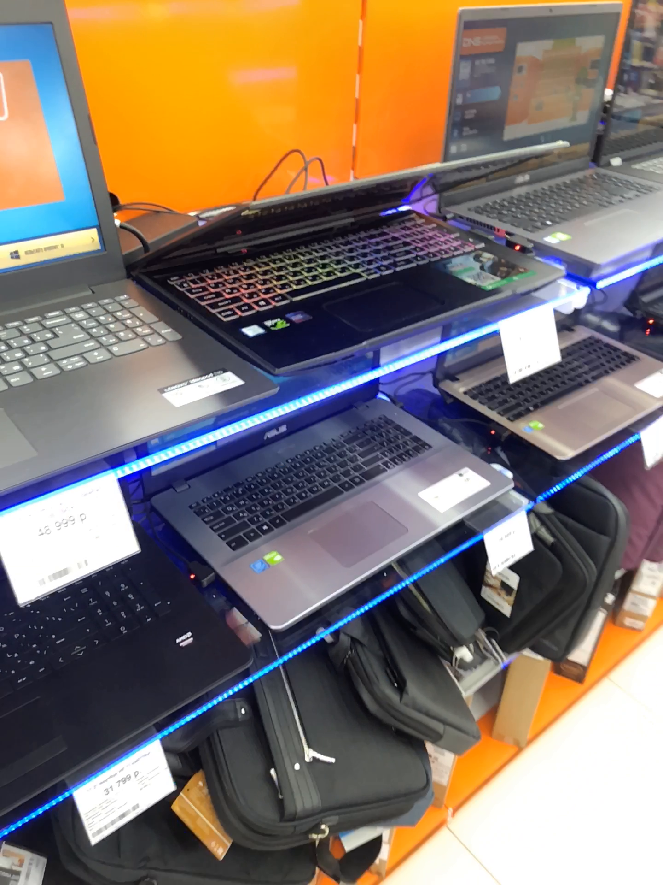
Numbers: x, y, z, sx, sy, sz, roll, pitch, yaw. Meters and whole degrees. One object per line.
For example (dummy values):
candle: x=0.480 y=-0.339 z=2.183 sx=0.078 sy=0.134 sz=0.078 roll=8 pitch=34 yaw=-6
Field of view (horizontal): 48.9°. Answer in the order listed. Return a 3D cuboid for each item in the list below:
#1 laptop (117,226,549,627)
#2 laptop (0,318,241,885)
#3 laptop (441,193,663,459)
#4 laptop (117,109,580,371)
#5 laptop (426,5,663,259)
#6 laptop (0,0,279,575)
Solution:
laptop: x=0.003 y=-0.053 z=0.882 sx=0.395 sy=0.256 sz=0.287 roll=-24 pitch=44 yaw=-33
laptop: x=-0.324 y=0.113 z=0.616 sx=0.407 sy=0.270 sz=0.273 roll=-23 pitch=41 yaw=-33
laptop: x=0.392 y=-0.194 z=1.107 sx=0.360 sy=0.240 sz=0.230 roll=-24 pitch=44 yaw=-32
laptop: x=0.022 y=-0.223 z=0.711 sx=0.365 sy=0.121 sz=0.244 roll=-23 pitch=43 yaw=-34
laptop: x=0.346 y=-0.405 z=0.912 sx=0.353 sy=0.216 sz=0.231 roll=-27 pitch=45 yaw=-35
laptop: x=-0.284 y=-0.154 z=0.492 sx=0.359 sy=0.228 sz=0.319 roll=-23 pitch=42 yaw=-34
